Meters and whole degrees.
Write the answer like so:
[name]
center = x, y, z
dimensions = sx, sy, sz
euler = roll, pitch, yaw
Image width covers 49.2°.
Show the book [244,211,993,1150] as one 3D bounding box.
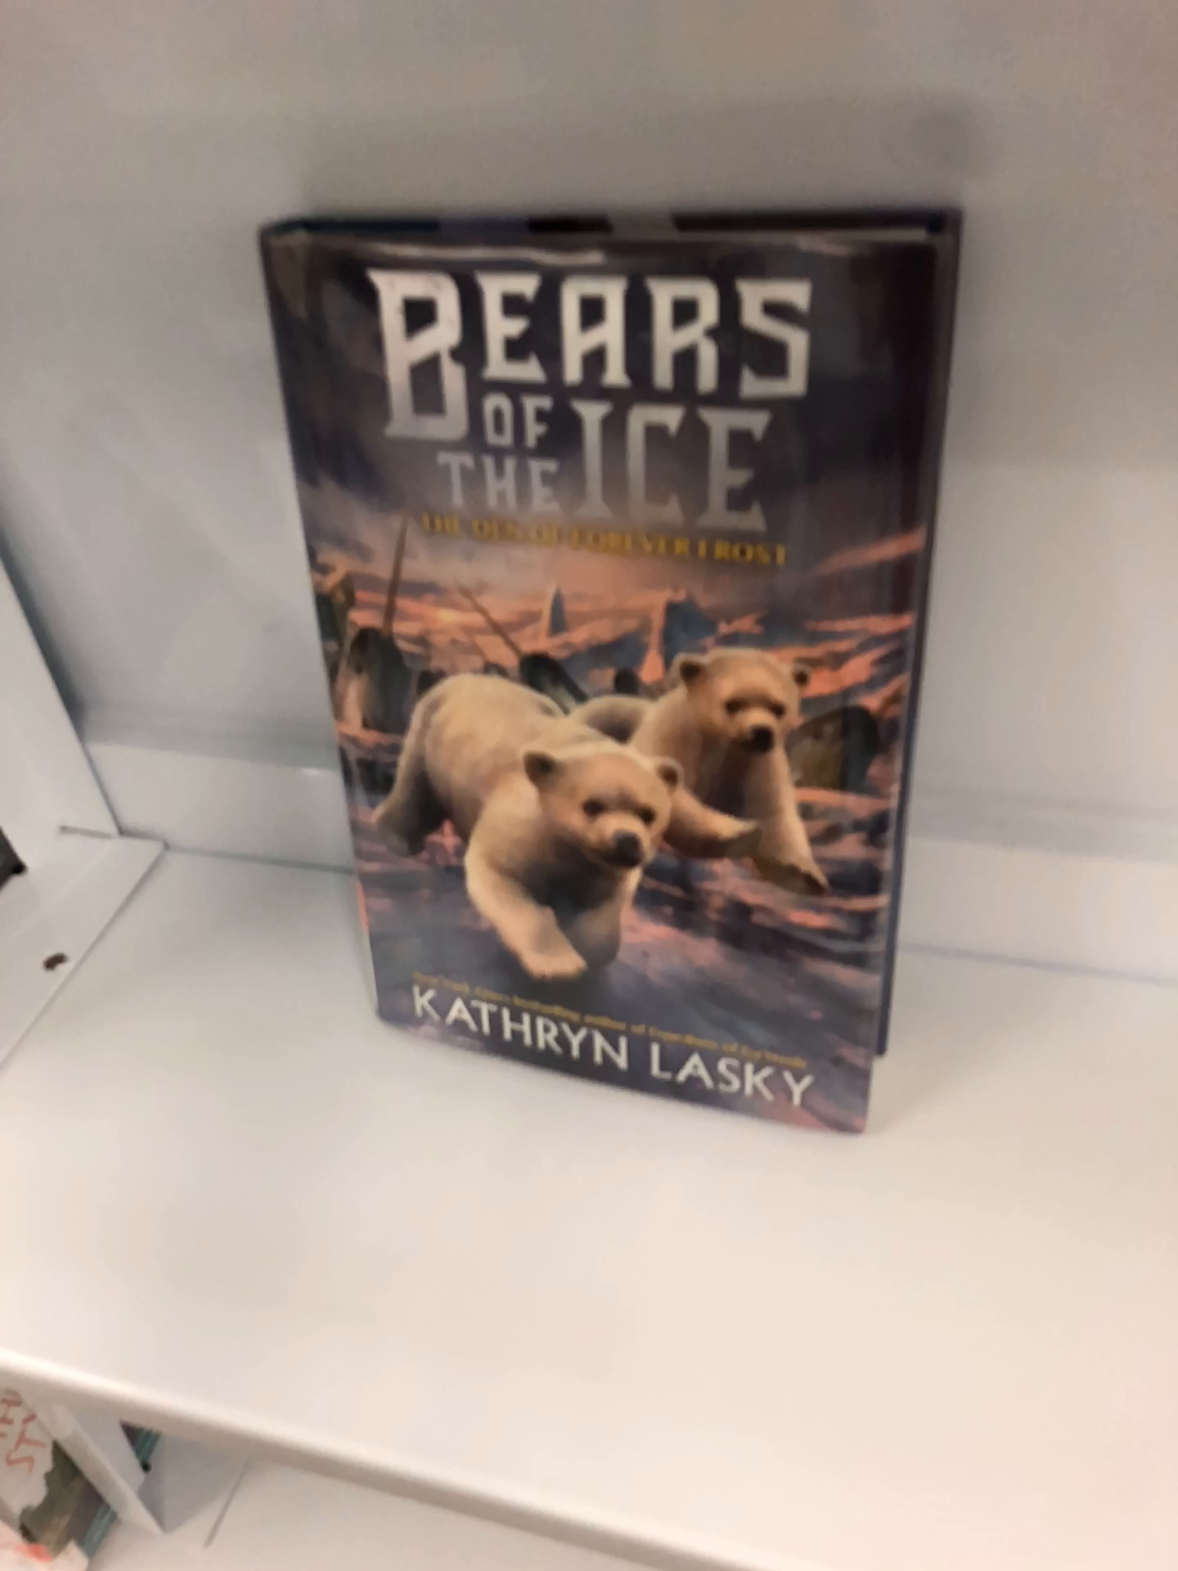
[book]
center = 0.008, -0.022, 0.320
dimensions = 0.150, 0.216, 0.043
euler = 9, 31, 20
